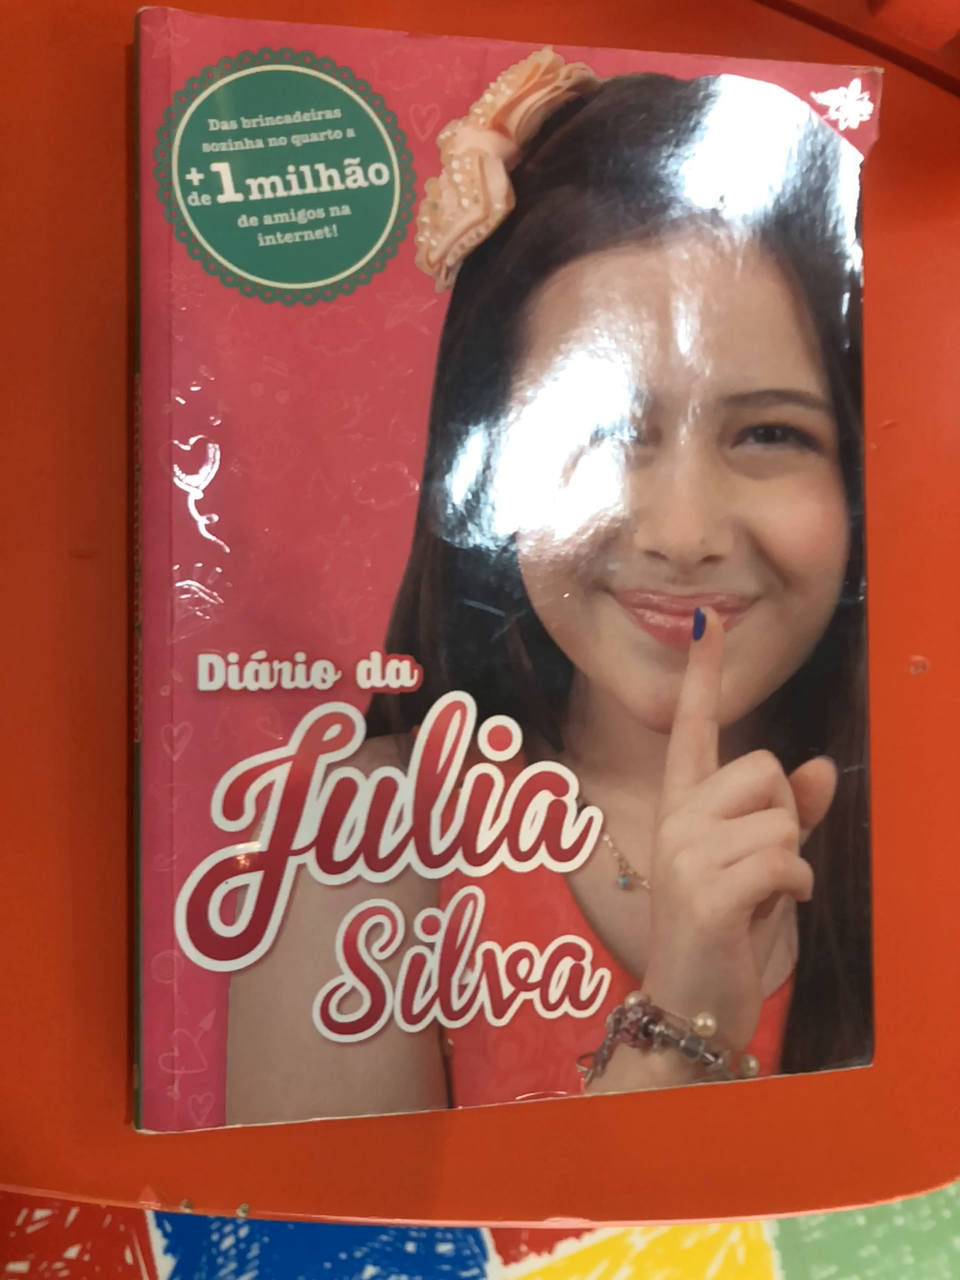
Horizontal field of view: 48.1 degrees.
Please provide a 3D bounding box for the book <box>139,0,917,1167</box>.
[{"bbox_3d":[0.014,-0.019,0.241,0.171,0.020,0.241,0,88,-14],"label":"book"}]
